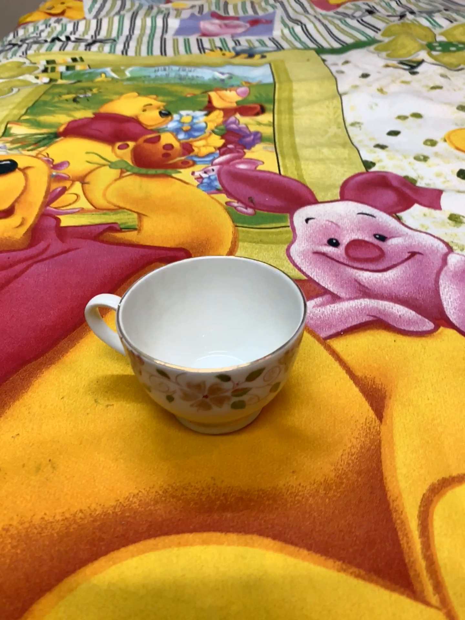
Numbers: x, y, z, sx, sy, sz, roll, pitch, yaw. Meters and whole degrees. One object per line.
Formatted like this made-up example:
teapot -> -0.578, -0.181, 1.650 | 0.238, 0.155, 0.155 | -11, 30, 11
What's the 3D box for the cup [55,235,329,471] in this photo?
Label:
cup -> -0.011, 0.015, 0.232 | 0.100, 0.060, 0.081 | 8, 41, 15
